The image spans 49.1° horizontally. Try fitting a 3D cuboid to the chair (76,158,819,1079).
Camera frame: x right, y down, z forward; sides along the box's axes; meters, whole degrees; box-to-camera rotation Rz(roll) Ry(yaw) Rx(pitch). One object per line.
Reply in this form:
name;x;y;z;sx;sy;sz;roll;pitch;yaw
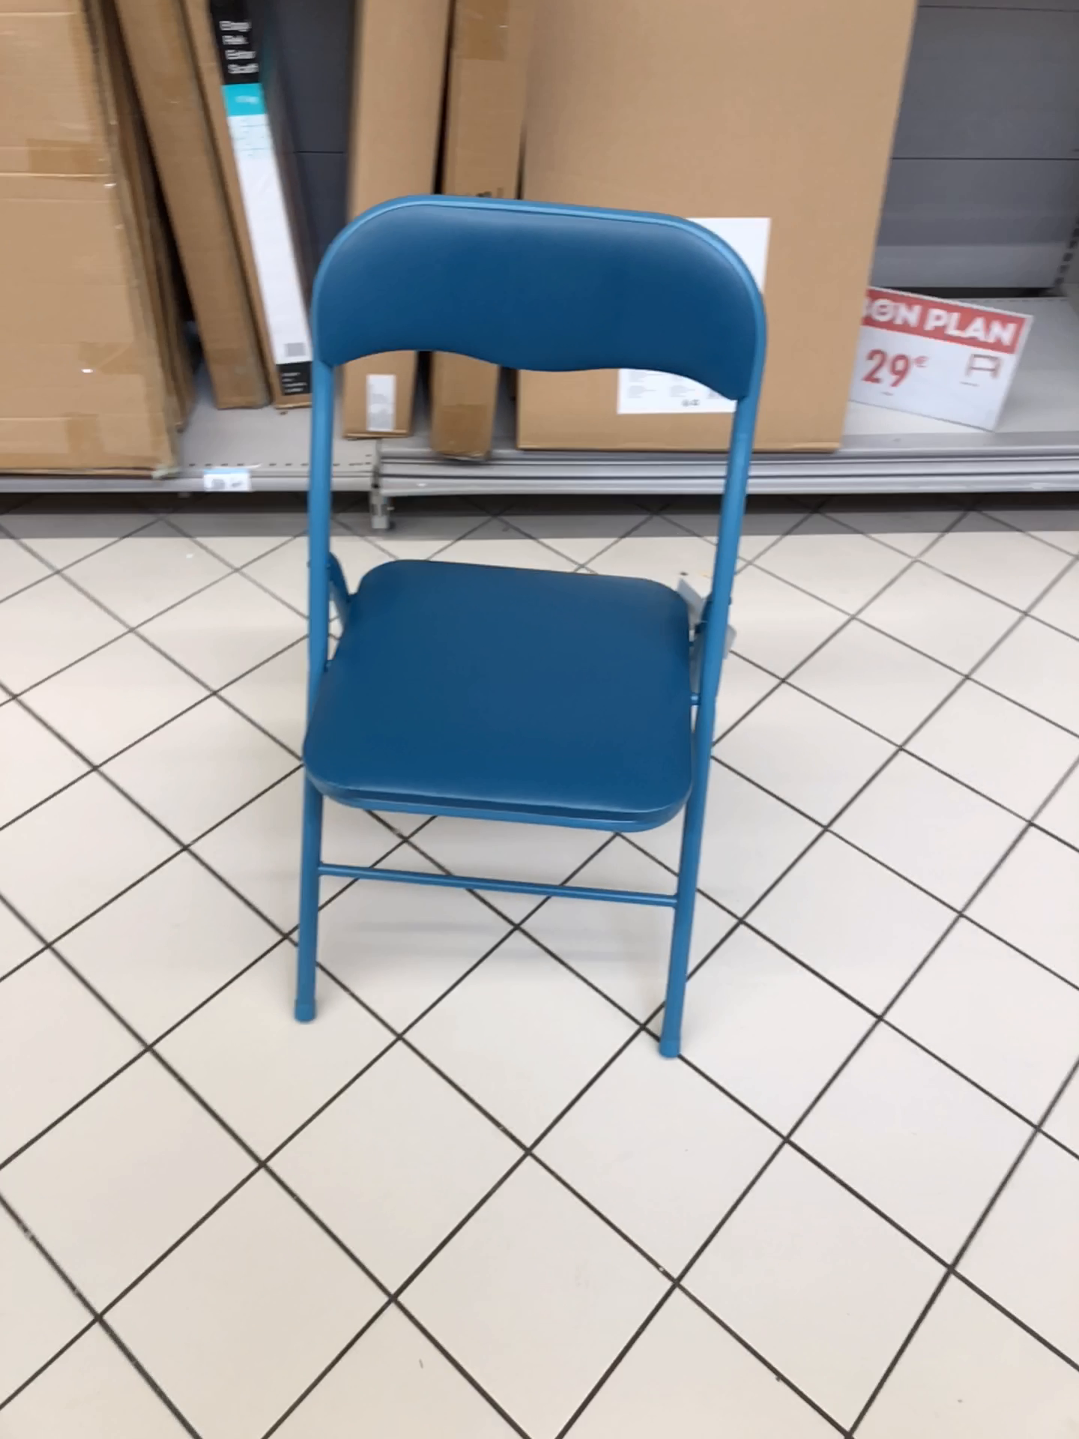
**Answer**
chair;-0.049;-0.072;1.234;0.500;0.766;0.503;7;46;3
